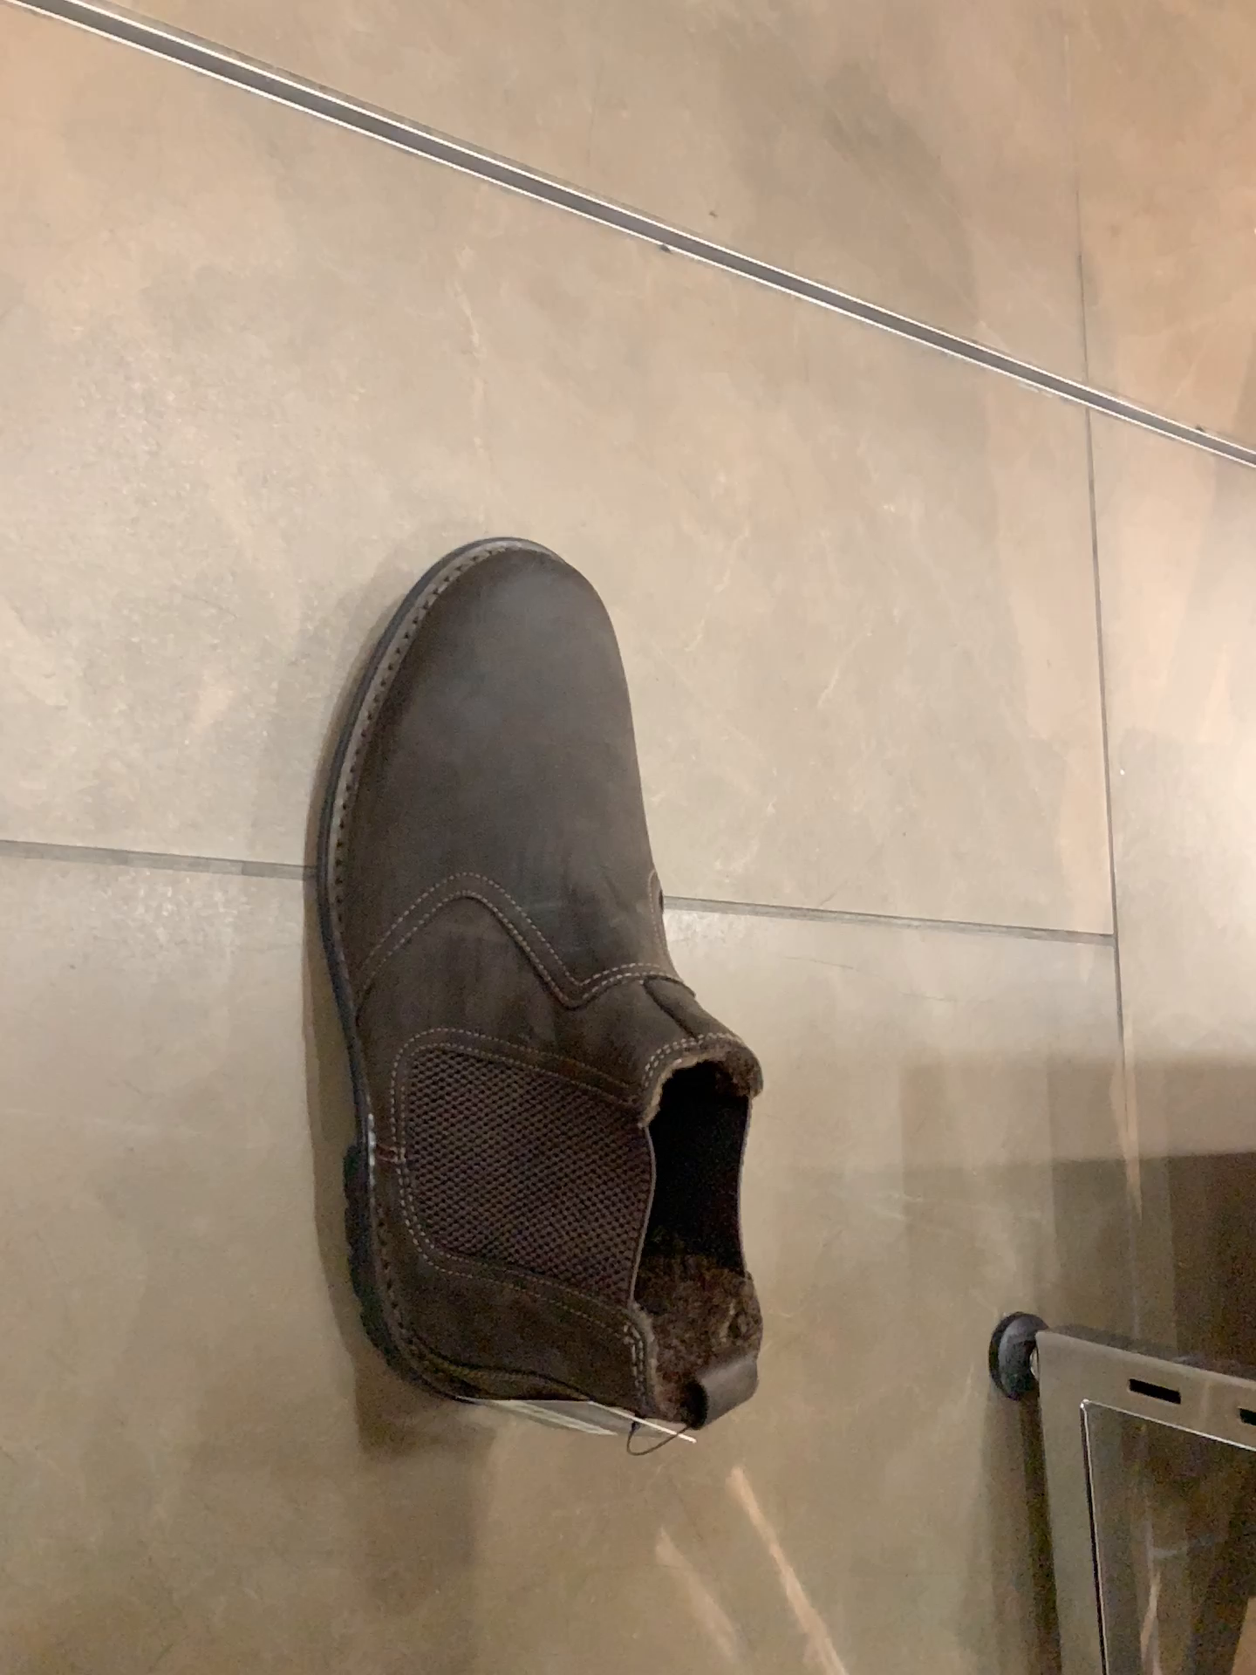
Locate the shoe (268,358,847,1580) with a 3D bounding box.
[{"bbox_3d":[-0.027,0.038,0.418,0.114,0.165,0.304,8,78,-29],"label":"shoe"}]
